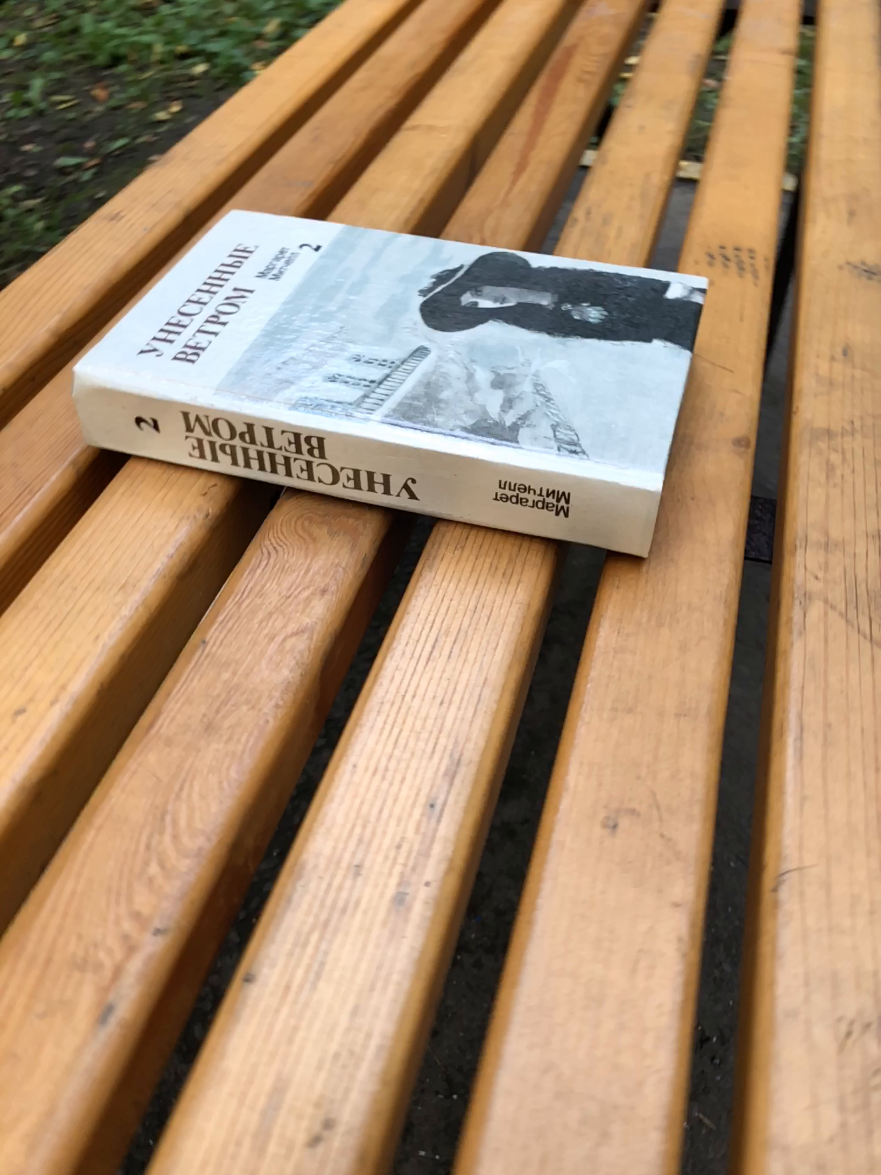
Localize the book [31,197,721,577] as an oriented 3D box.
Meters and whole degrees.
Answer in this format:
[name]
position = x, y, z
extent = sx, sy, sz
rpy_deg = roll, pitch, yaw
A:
[book]
position = -0.013, -0.084, 0.357
extent = 0.210, 0.030, 0.141
rpy_deg = 13, 47, 11
